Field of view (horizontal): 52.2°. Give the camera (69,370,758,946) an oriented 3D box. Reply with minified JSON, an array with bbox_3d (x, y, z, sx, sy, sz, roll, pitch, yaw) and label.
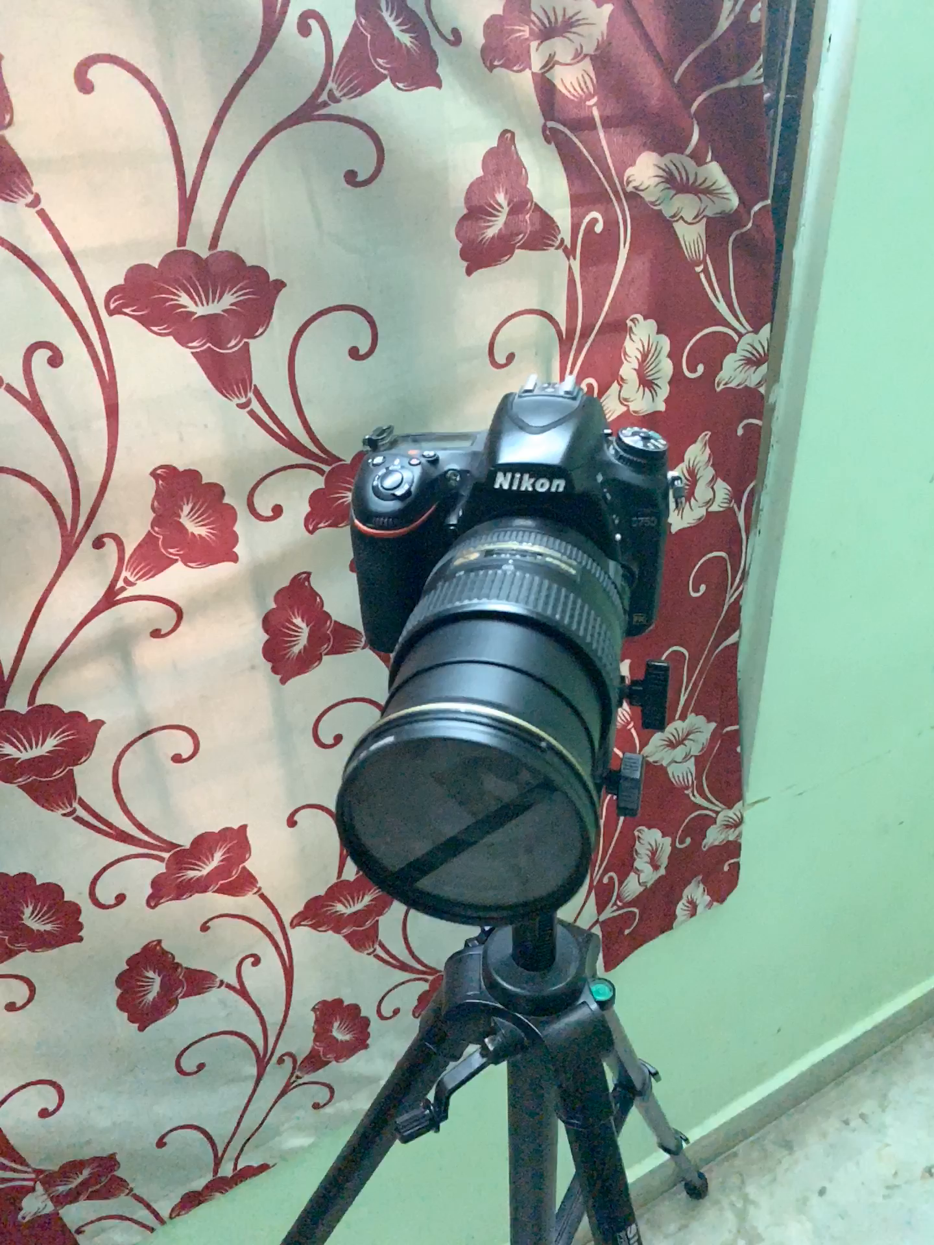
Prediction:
[{"bbox_3d":[-0.003,-0.003,0.336,0.172,0.122,0.171,2,31,8],"label":"camera"}]
